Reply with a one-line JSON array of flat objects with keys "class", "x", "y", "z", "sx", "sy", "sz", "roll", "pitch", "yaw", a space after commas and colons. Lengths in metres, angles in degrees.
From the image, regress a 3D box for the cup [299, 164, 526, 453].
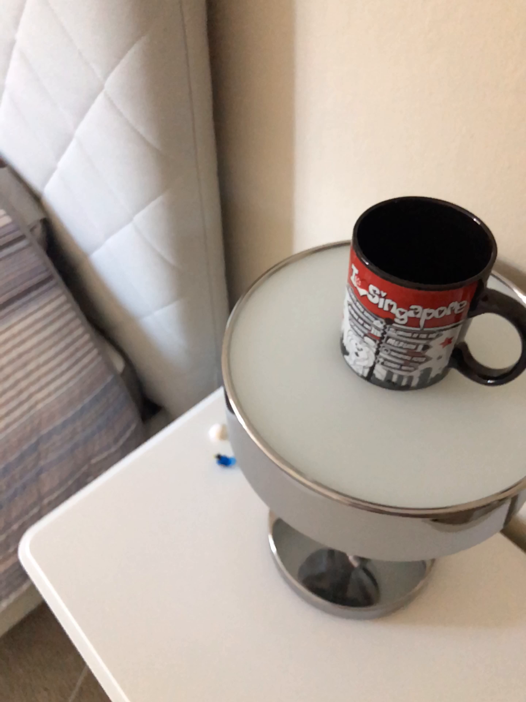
[{"class": "cup", "x": 0.103, "y": -0.028, "z": 0.360, "sx": 0.130, "sy": 0.100, "sz": 0.090, "roll": 27, "pitch": 56, "yaw": 22}]
